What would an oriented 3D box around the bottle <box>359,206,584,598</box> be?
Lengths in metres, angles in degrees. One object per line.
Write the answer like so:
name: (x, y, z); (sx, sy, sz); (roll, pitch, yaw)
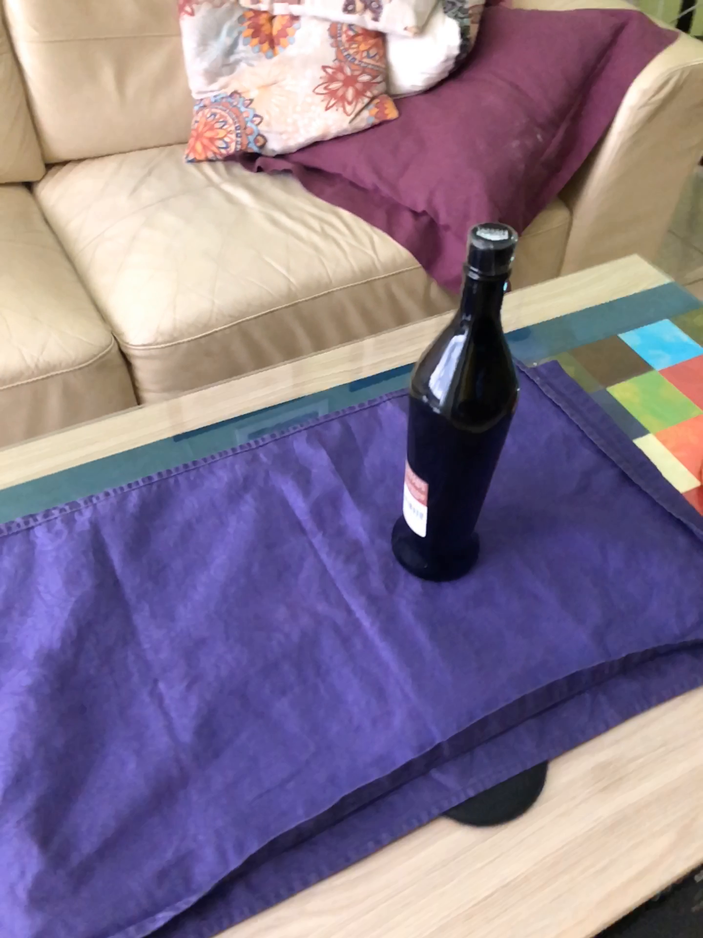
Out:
bottle: (0.066, -0.031, 0.550); (0.100, 0.279, 0.100); (1, 48, -1)
